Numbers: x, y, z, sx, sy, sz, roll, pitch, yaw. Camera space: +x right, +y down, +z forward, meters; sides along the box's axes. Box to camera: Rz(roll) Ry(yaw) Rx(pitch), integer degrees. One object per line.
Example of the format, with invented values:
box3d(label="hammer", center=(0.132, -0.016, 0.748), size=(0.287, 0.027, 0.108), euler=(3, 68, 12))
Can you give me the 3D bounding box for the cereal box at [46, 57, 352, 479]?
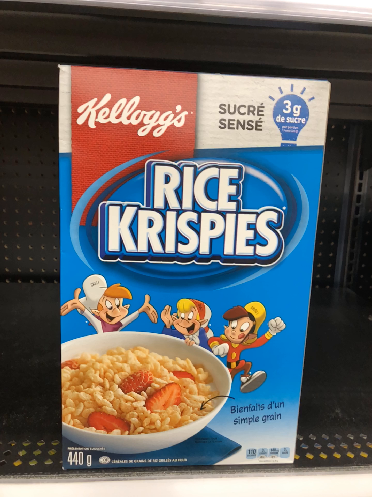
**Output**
box3d(label="cereal box", center=(0.003, 0.021, 0.333), size=(0.200, 0.299, 0.080), euler=(1, 10, -5))
